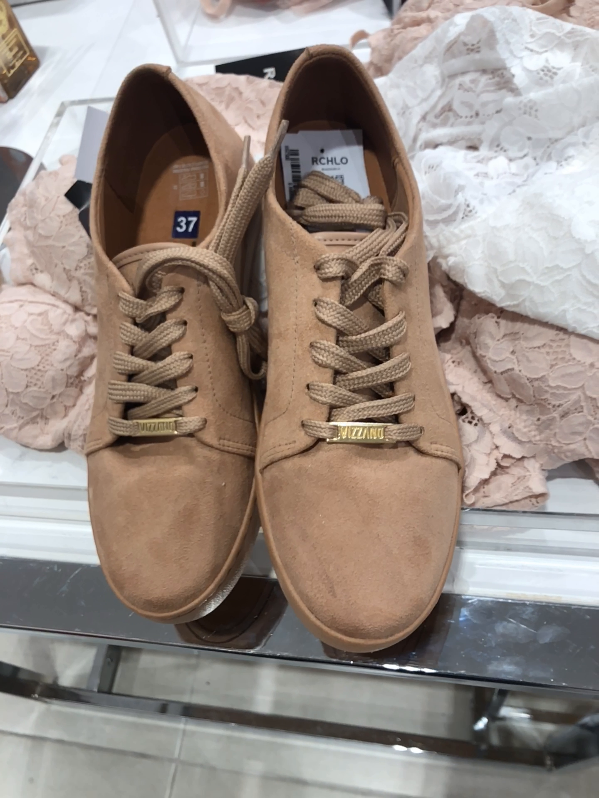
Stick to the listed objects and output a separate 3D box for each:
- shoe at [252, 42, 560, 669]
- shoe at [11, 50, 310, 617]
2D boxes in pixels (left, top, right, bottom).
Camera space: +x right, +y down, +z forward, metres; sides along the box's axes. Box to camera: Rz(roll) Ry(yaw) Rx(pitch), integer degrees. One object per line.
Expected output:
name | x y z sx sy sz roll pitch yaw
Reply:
shoe | 0.028 -0.019 0.291 0.090 0.100 0.241 -1 72 -5
shoe | -0.053 -0.027 0.326 0.090 0.100 0.241 0 77 12
